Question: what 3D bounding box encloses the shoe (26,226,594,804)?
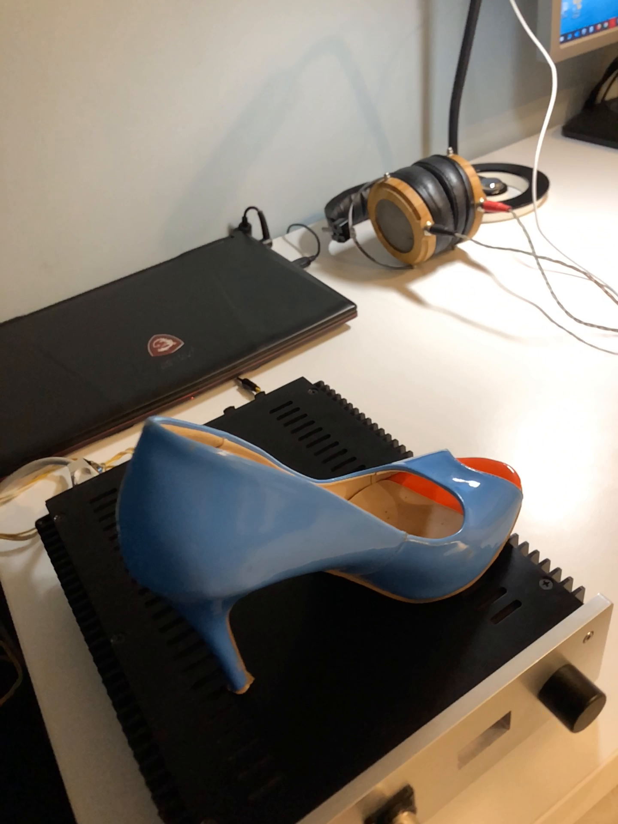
[{"bbox_3d":[0.019,0.036,0.310,0.221,0.149,0.080,-32,43,-24],"label":"shoe"}]
